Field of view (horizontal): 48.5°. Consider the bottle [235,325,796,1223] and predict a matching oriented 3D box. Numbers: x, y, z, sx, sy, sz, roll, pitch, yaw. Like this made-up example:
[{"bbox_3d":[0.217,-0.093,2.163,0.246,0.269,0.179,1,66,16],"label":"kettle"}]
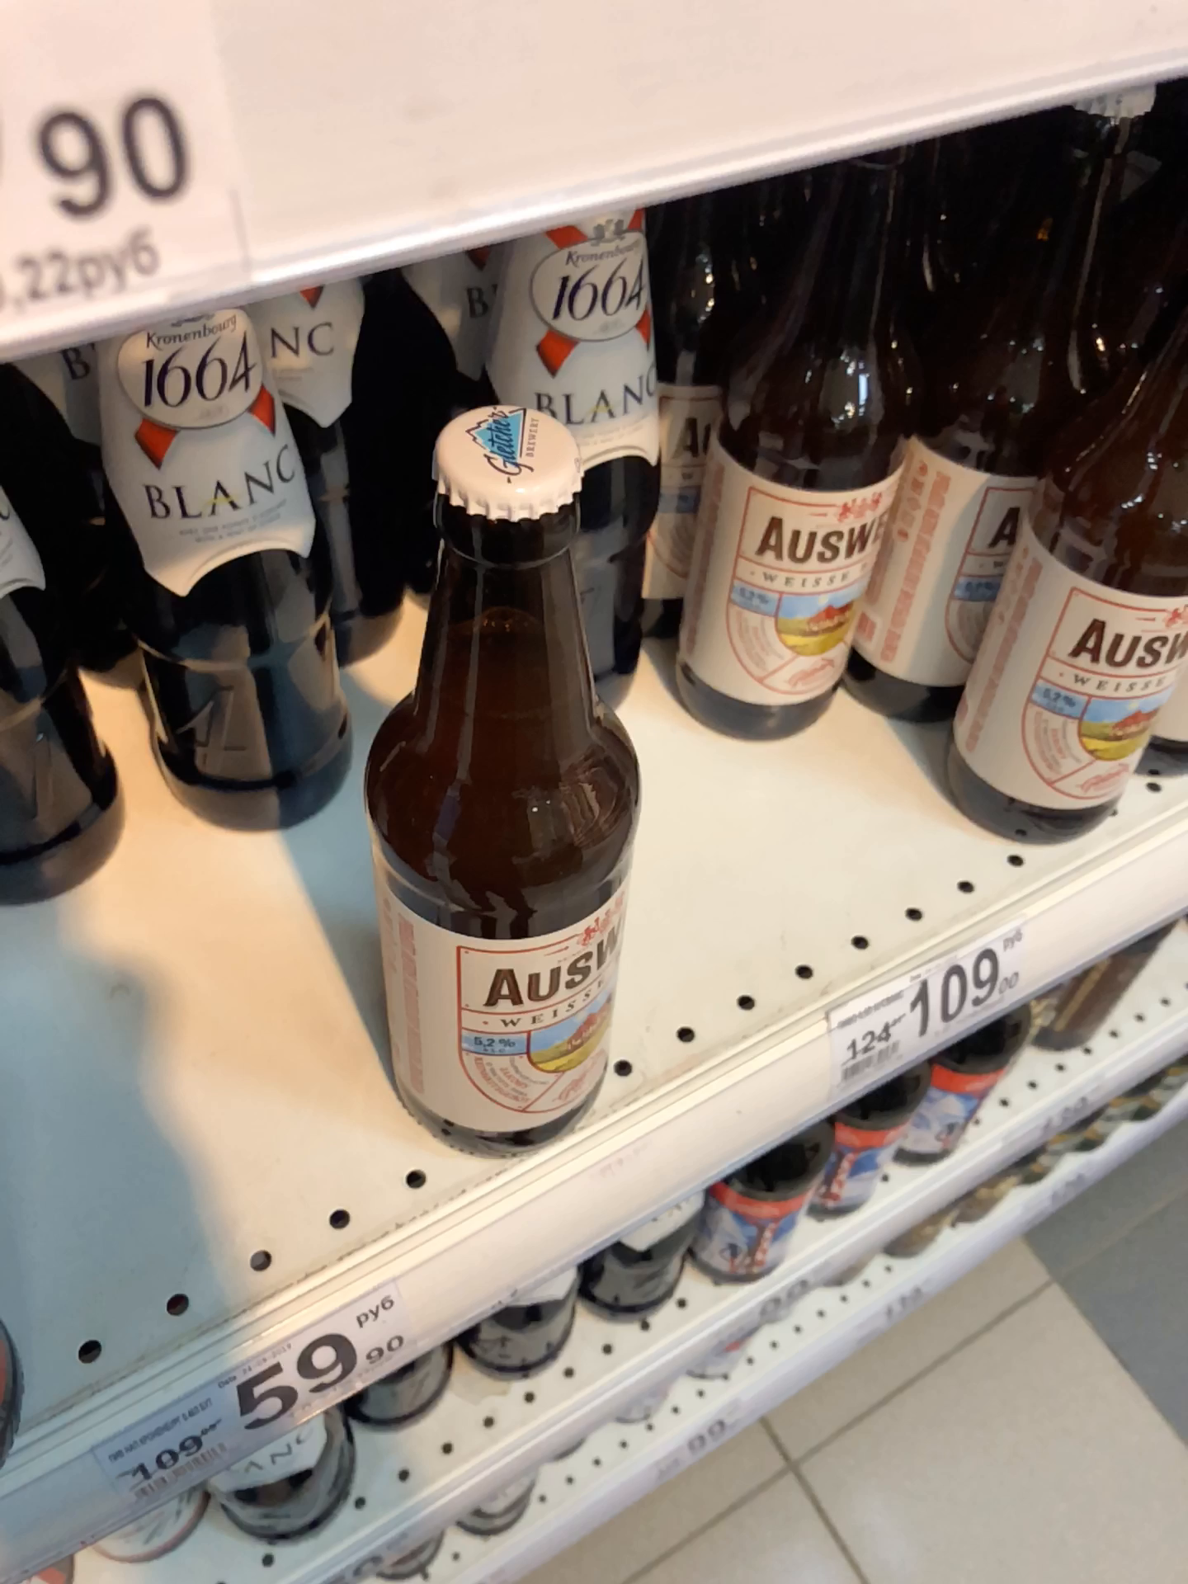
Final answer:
[{"bbox_3d":[-0.020,0.015,0.332,0.070,0.229,0.080,29,55,17],"label":"bottle"}]
